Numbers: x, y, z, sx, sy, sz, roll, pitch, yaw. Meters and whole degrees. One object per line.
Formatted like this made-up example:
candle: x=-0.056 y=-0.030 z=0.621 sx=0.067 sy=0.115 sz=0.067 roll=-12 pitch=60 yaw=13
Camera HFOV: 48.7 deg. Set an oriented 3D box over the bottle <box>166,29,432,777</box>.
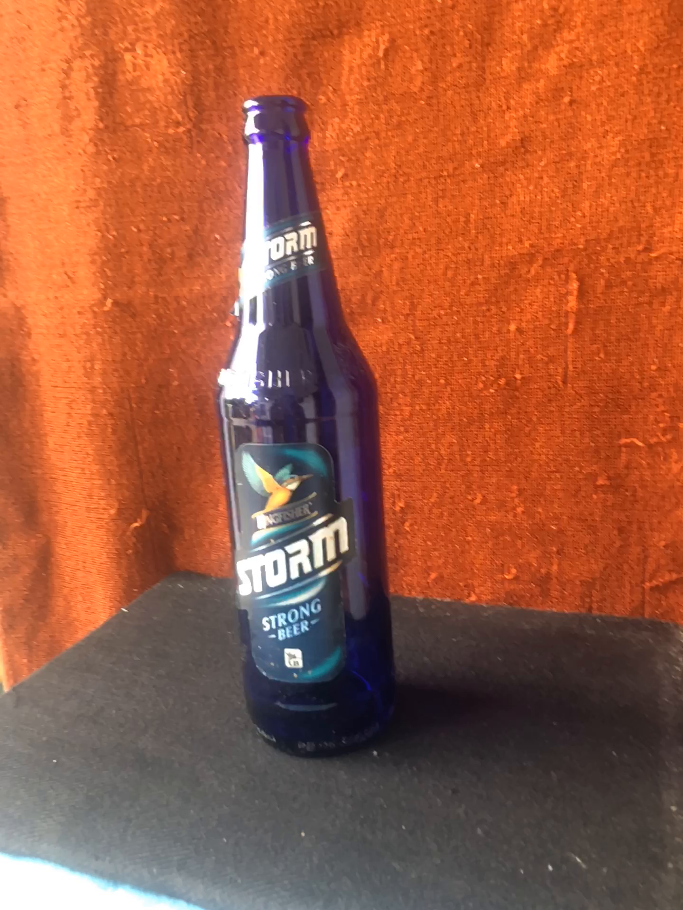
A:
bottle: x=-0.007 y=-0.012 z=0.322 sx=0.080 sy=0.279 sz=0.080 roll=-2 pitch=15 yaw=1
